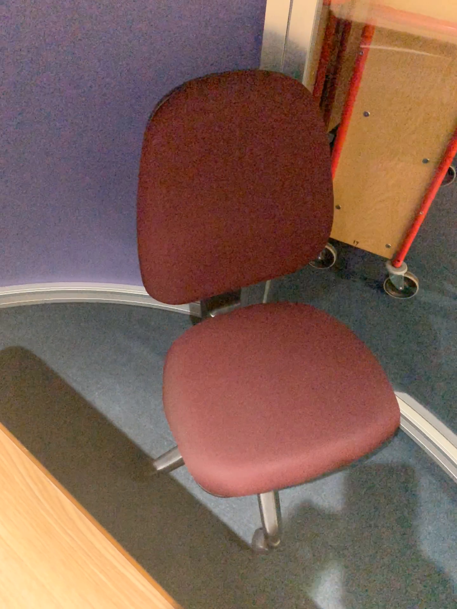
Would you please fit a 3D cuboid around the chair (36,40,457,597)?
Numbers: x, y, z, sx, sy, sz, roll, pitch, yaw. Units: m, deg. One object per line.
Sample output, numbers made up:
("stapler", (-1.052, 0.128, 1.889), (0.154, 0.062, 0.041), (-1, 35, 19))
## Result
("chair", (0.032, 0.005, 1.059), (0.581, 0.773, 0.856), (-17, 52, -18))
